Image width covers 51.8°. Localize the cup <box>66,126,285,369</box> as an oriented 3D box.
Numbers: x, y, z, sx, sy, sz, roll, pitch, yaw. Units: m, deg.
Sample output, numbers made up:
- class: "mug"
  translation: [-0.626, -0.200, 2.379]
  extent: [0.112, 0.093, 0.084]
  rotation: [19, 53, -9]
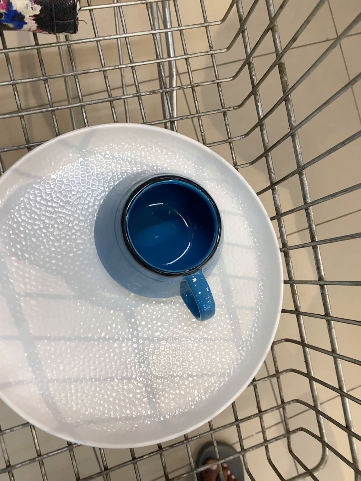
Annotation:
- class: "cup"
  translation: [-0.008, 0.004, 0.291]
  extent: [0.100, 0.090, 0.130]
  rotation: [-27, 96, -11]
